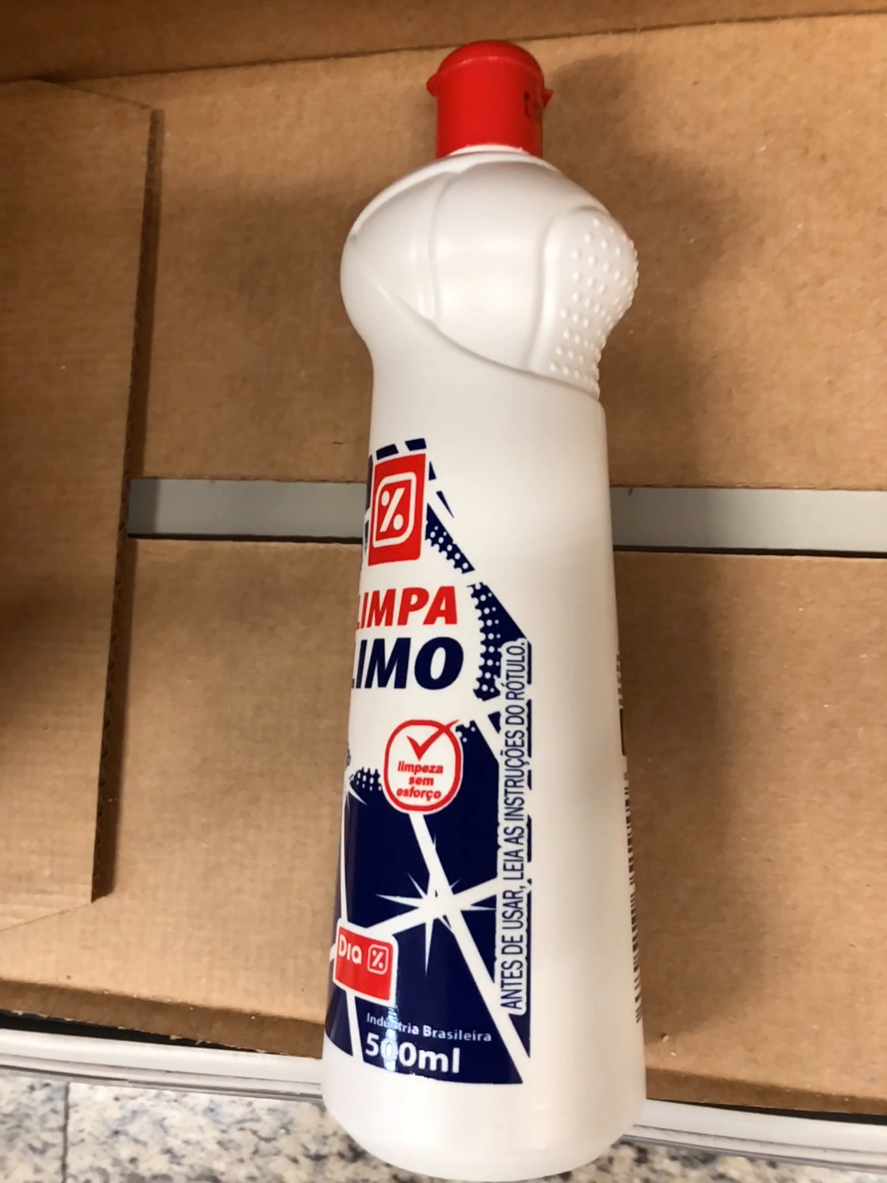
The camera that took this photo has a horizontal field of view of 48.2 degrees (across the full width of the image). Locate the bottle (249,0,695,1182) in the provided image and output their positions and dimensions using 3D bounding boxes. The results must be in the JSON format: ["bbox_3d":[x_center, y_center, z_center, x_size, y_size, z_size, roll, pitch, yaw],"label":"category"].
[{"bbox_3d":[0.008,-0.020,0.216,0.080,0.060,0.260,-2,85,12],"label":"bottle"}]
